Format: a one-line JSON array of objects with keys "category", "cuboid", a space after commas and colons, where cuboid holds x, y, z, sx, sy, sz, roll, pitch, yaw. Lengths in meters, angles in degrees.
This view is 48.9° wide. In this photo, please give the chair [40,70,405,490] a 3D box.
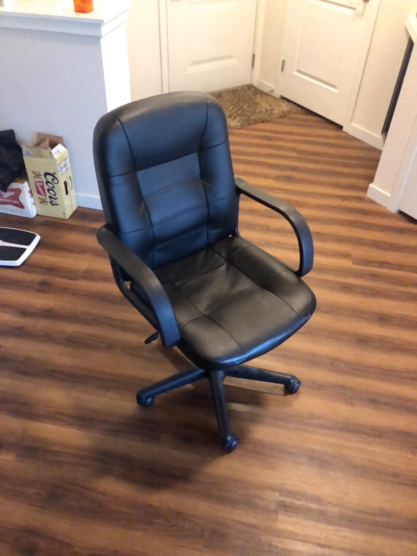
[{"category": "chair", "cuboid": [0.007, -0.005, 1.504, 0.664, 1.012, 0.669, -26, 48, -29]}]
